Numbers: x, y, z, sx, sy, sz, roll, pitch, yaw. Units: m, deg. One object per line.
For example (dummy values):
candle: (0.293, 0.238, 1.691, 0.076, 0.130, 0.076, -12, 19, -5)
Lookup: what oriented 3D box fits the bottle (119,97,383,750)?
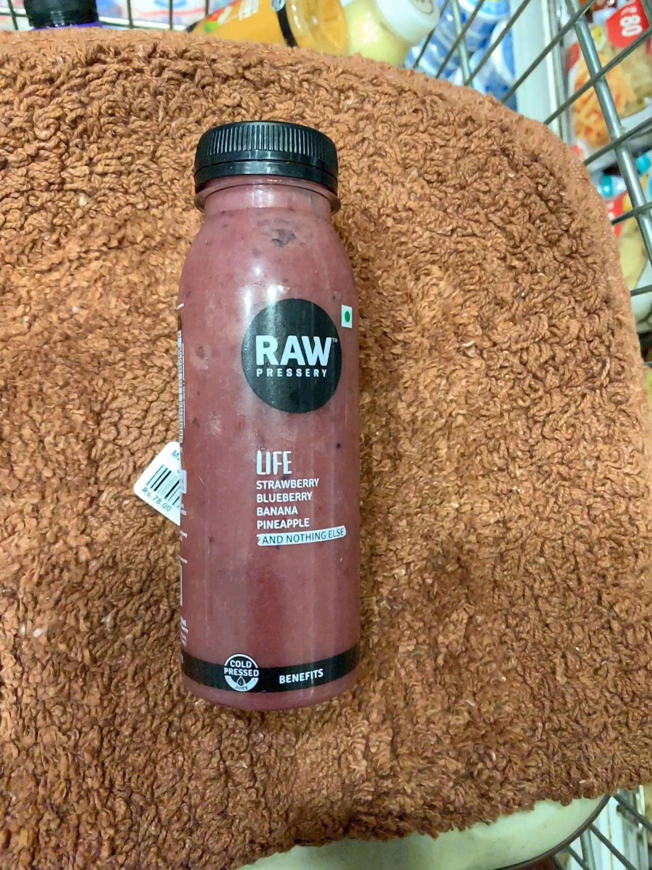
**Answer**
bottle: (-0.023, -0.003, 0.190, 0.060, 0.050, 0.150, -1, 90, -21)
